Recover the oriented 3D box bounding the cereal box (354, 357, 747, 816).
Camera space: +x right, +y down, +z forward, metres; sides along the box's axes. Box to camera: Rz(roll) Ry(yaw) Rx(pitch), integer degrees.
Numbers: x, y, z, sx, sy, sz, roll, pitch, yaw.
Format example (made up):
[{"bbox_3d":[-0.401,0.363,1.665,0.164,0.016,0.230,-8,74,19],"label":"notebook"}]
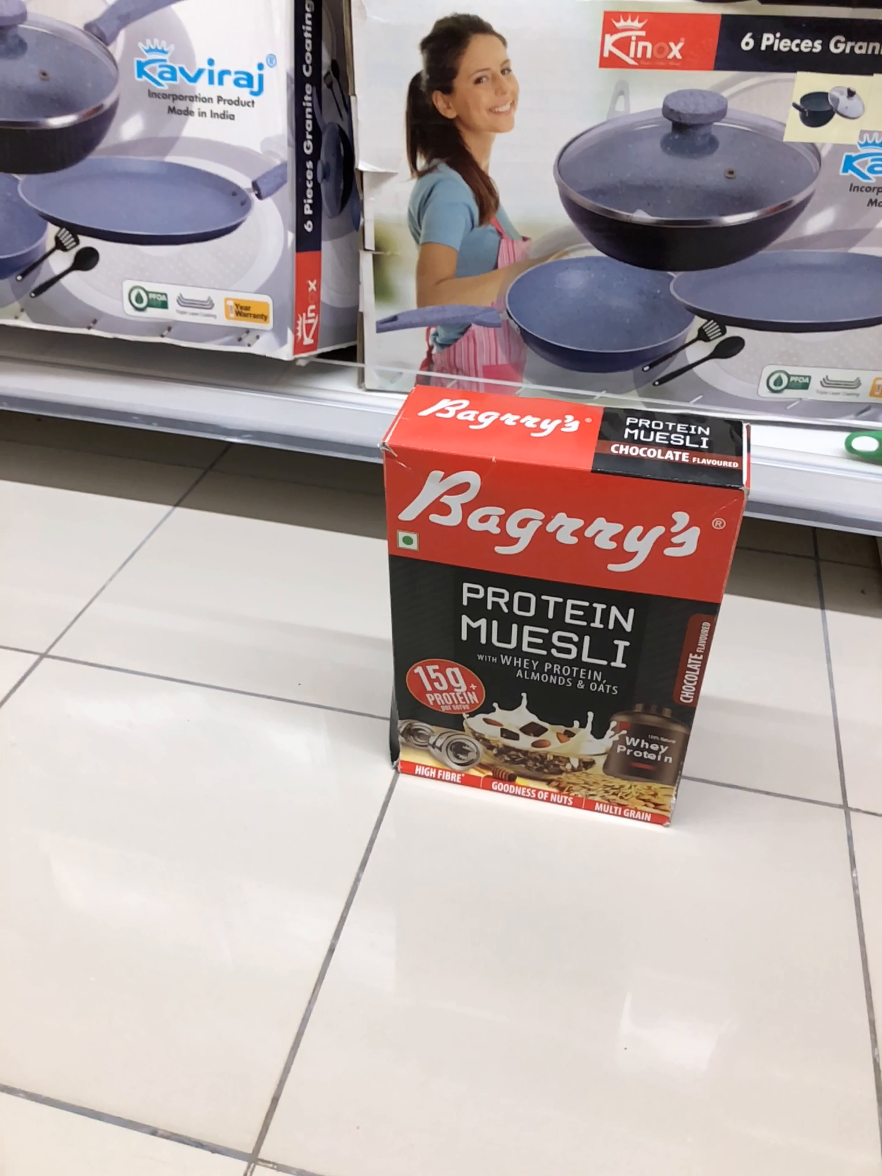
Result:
[{"bbox_3d":[0.057,0.004,0.568,0.190,0.238,0.081,9,37,11],"label":"cereal box"}]
